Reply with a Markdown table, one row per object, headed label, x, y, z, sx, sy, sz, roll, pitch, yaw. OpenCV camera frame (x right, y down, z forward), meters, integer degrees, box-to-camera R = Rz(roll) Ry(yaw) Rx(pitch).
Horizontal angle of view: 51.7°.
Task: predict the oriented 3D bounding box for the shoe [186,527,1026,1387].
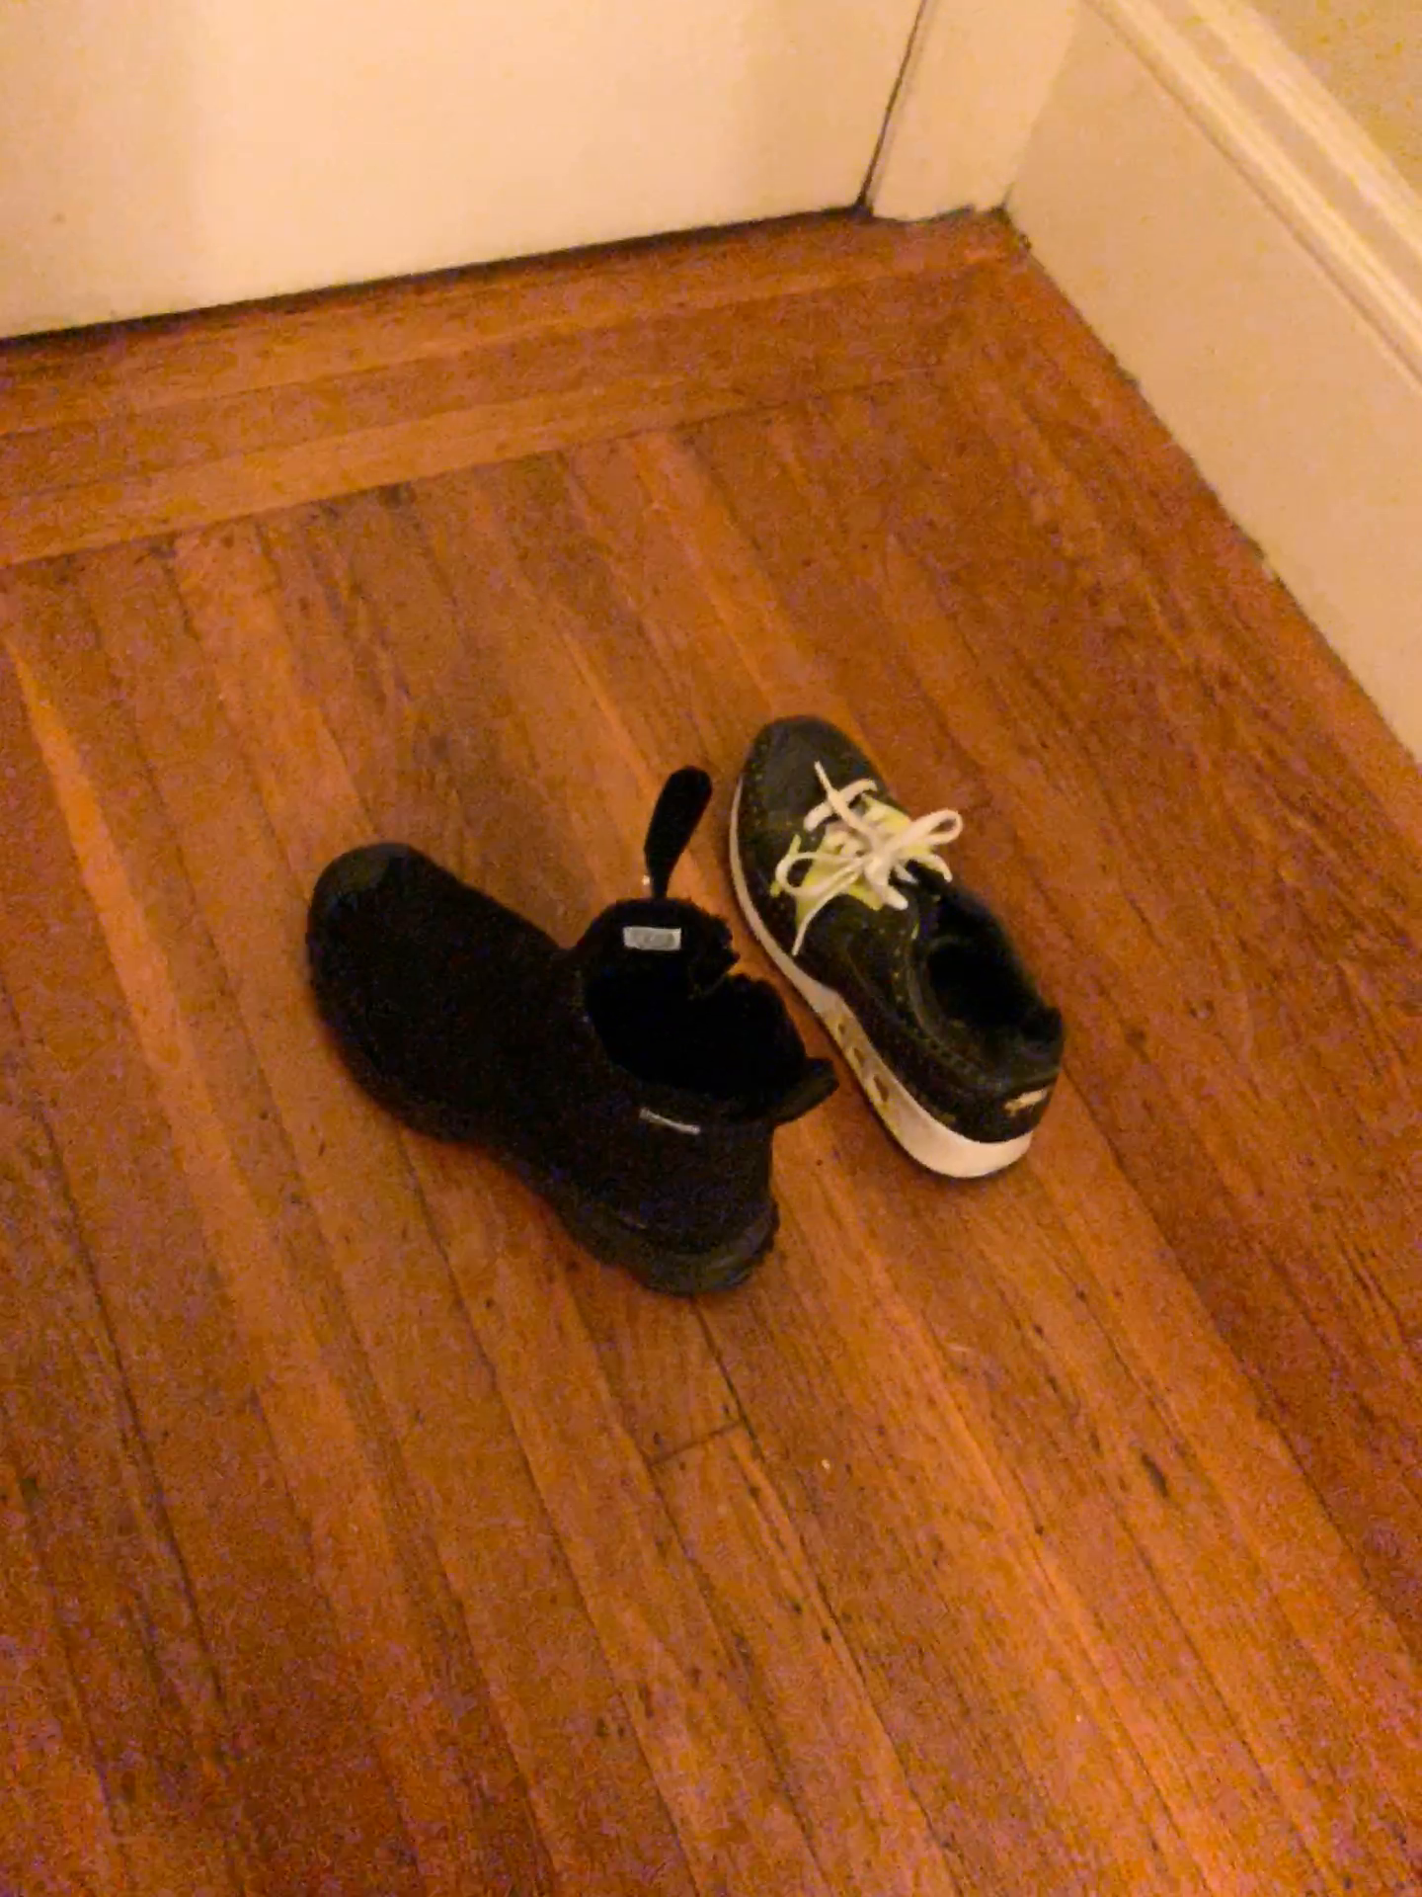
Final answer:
| label | x | y | z | sx | sy | sz | roll | pitch | yaw |
| --- | --- | --- | --- | --- | --- | --- | --- | --- | --- |
| shoe | -0.061 | 0.016 | 0.691 | 0.310 | 0.239 | 0.160 | 40 | 62 | 10 |

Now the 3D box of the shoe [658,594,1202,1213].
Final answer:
| label | x | y | z | sx | sy | sz | roll | pitch | yaw |
| --- | --- | --- | --- | --- | --- | --- | --- | --- | --- |
| shoe | 0.102 | -0.029 | 0.766 | 0.120 | 0.100 | 0.290 | -24 | 70 | -22 |
